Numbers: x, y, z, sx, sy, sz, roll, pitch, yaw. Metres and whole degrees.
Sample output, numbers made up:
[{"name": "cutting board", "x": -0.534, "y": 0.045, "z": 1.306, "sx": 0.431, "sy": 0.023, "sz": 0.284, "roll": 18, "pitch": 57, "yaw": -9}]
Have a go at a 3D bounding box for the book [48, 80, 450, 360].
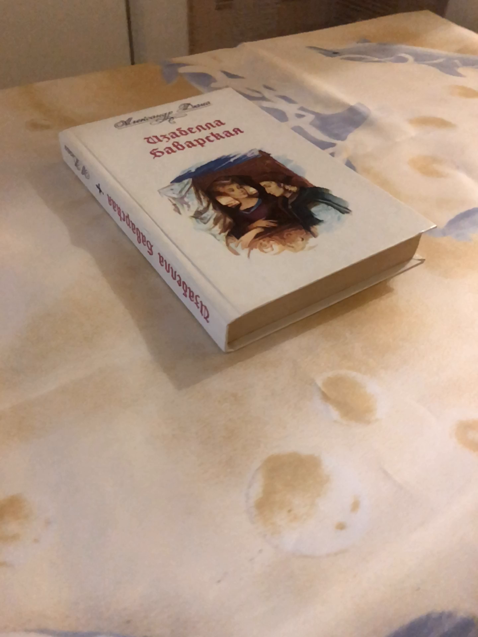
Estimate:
[{"name": "book", "x": -0.006, "y": -0.080, "z": 0.318, "sx": 0.140, "sy": 0.026, "sz": 0.209, "roll": -25, "pitch": 51, "yaw": -24}]
